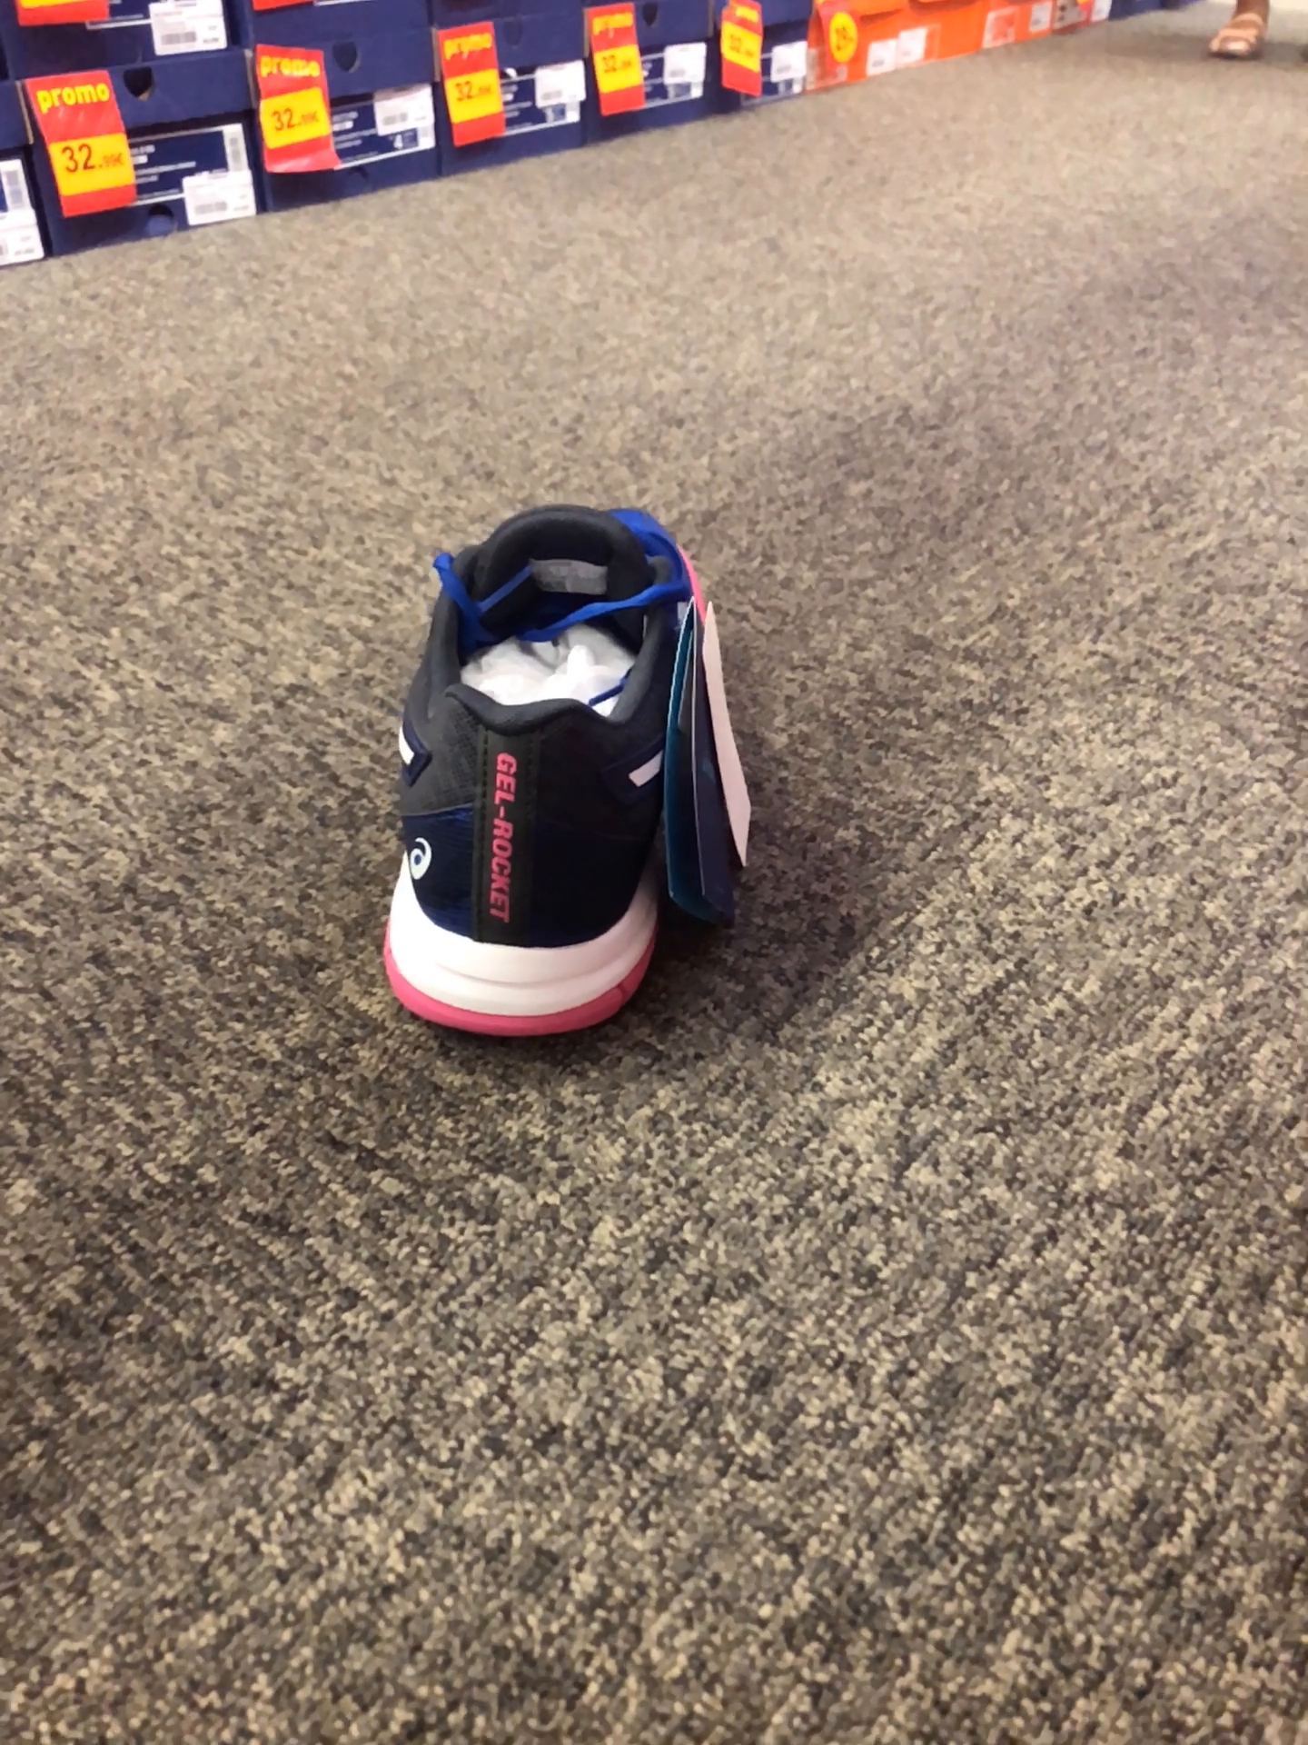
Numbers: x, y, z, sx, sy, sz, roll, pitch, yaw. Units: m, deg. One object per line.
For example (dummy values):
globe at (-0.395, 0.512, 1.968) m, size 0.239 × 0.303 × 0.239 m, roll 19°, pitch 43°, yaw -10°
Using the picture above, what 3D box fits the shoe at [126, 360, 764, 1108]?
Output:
shoe at (-0.038, -0.065, 0.449) m, size 0.125 × 0.099 × 0.272 m, roll 4°, pitch 37°, yaw 5°
